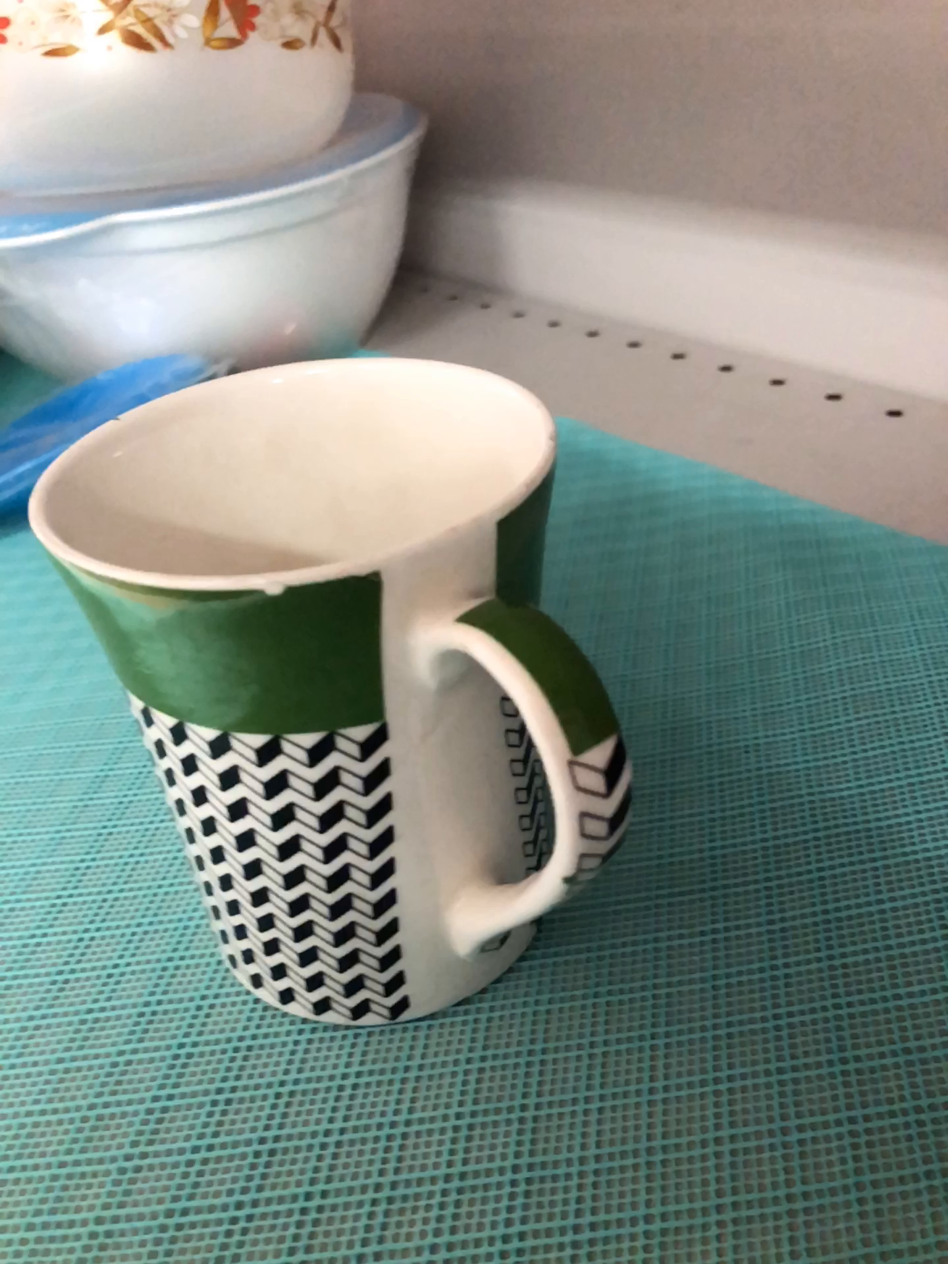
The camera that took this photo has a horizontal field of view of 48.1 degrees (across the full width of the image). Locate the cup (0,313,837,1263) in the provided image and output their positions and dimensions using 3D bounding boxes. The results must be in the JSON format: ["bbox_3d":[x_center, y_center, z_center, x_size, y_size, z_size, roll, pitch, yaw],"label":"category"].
[{"bbox_3d":[-0.017,0.018,0.171,0.110,0.099,0.080,25,45,37],"label":"cup"}]
